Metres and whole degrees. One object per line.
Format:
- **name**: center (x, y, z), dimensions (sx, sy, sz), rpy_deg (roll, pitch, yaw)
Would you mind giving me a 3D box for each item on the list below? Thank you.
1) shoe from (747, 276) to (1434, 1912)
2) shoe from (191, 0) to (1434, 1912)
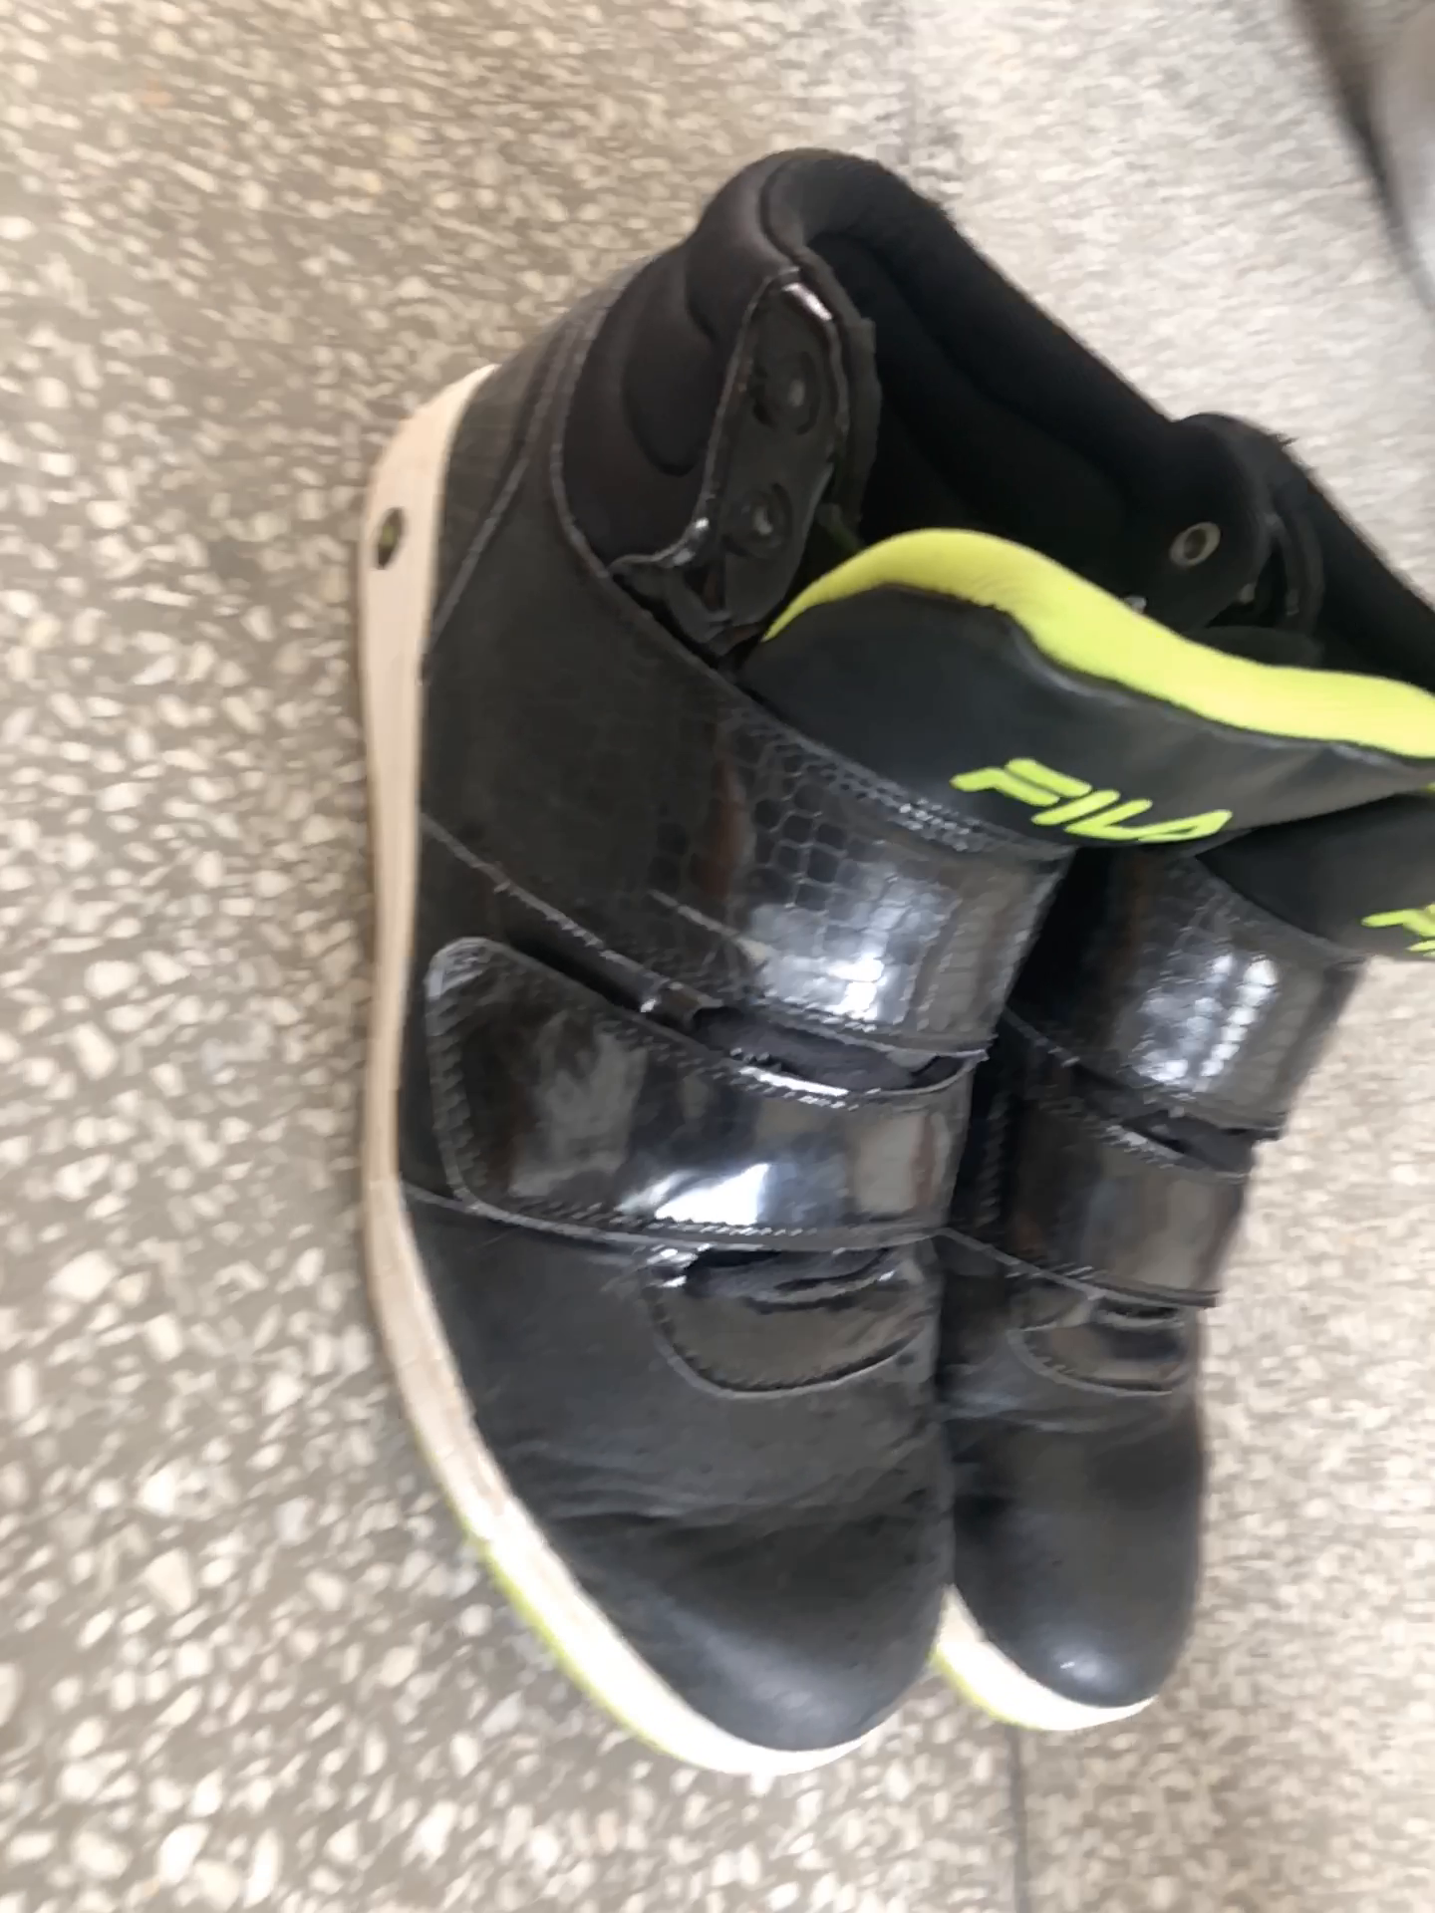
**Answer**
- **shoe**: center (0.107, 0.032, 0.325), dimensions (0.120, 0.147, 0.250), rpy_deg (12, 67, -39)
- **shoe**: center (0.007, 0.000, 0.273), dimensions (0.120, 0.147, 0.270), rpy_deg (4, 72, -41)
